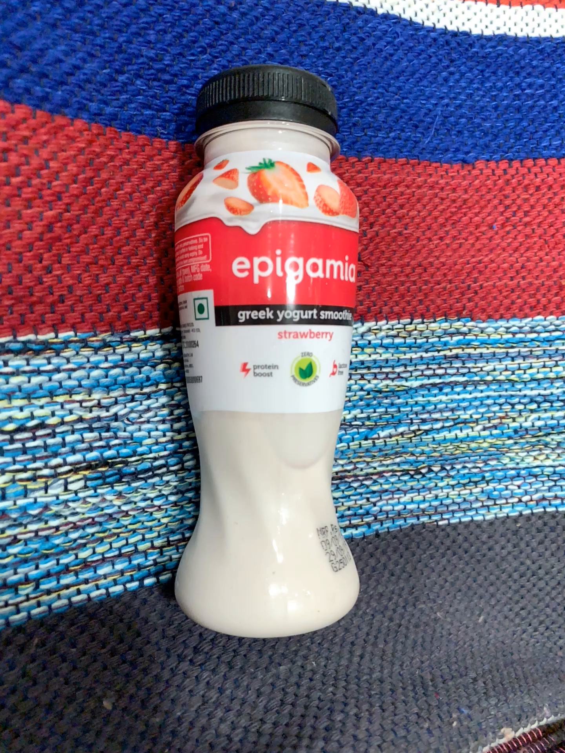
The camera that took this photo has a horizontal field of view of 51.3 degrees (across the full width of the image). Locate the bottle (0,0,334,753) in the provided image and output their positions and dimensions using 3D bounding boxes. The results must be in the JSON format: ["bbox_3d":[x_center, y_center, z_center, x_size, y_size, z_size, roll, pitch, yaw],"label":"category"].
[{"bbox_3d":[-0.031,-0.011,0.143,0.060,0.050,0.160,-2,87,-33],"label":"bottle"}]
